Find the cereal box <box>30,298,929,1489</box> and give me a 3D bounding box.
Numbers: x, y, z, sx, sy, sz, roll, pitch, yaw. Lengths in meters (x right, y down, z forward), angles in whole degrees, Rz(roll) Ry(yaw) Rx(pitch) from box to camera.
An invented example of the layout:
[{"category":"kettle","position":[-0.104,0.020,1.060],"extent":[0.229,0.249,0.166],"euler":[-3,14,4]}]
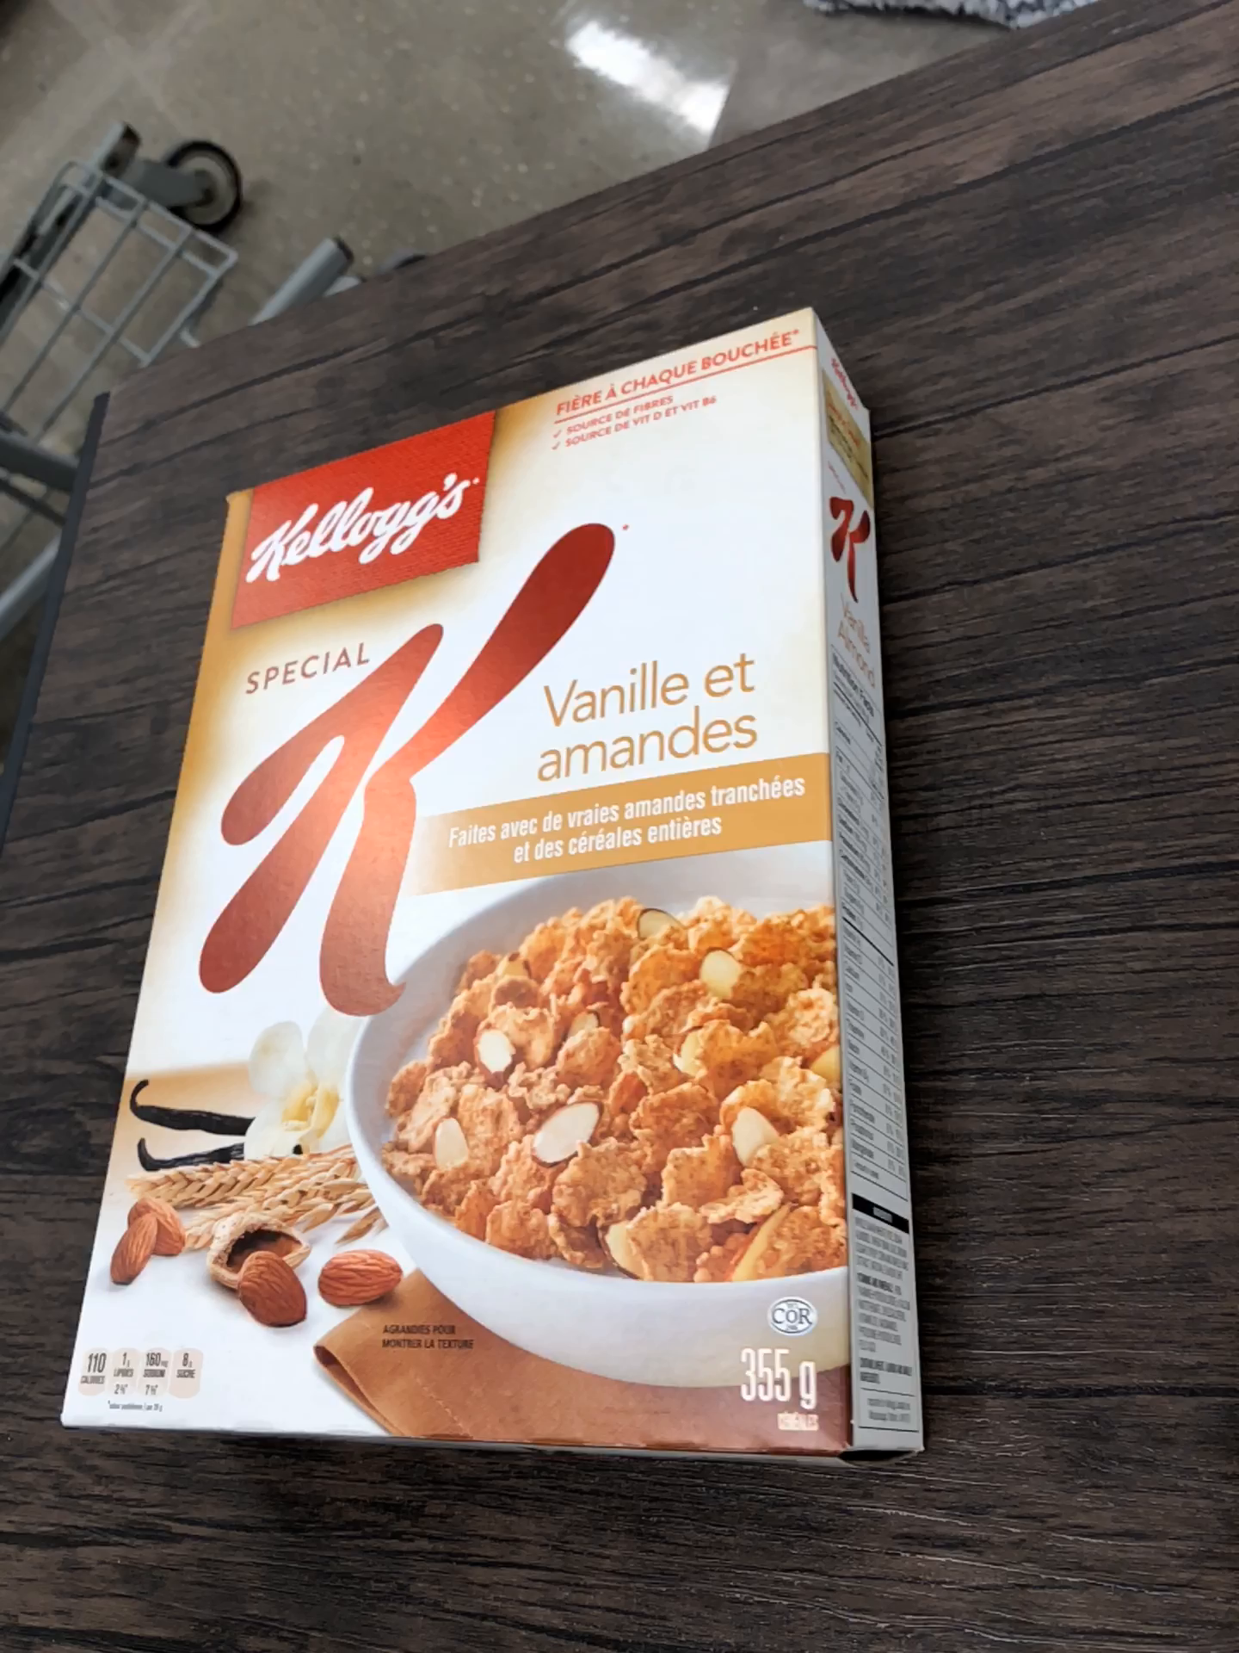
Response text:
[{"category":"cereal box","position":[-0.034,0.017,0.362],"extent":[0.200,0.060,0.270],"euler":[-9,65,25]}]
